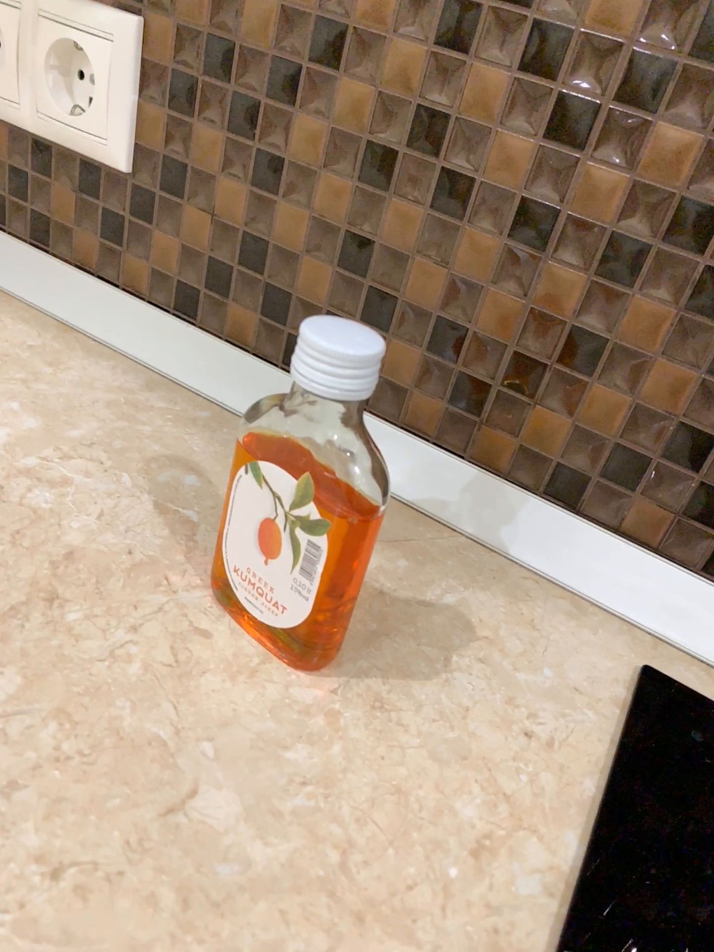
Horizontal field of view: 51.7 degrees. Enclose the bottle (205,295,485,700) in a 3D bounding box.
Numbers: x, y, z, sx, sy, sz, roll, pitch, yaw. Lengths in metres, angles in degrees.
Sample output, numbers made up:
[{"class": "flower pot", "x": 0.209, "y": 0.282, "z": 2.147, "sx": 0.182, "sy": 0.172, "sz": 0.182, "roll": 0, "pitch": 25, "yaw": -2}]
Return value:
[{"class": "bottle", "x": -0.012, "y": 0.009, "z": 0.283, "sx": 0.070, "sy": 0.133, "sz": 0.040, "roll": 35, "pitch": 35, "yaw": 28}]
